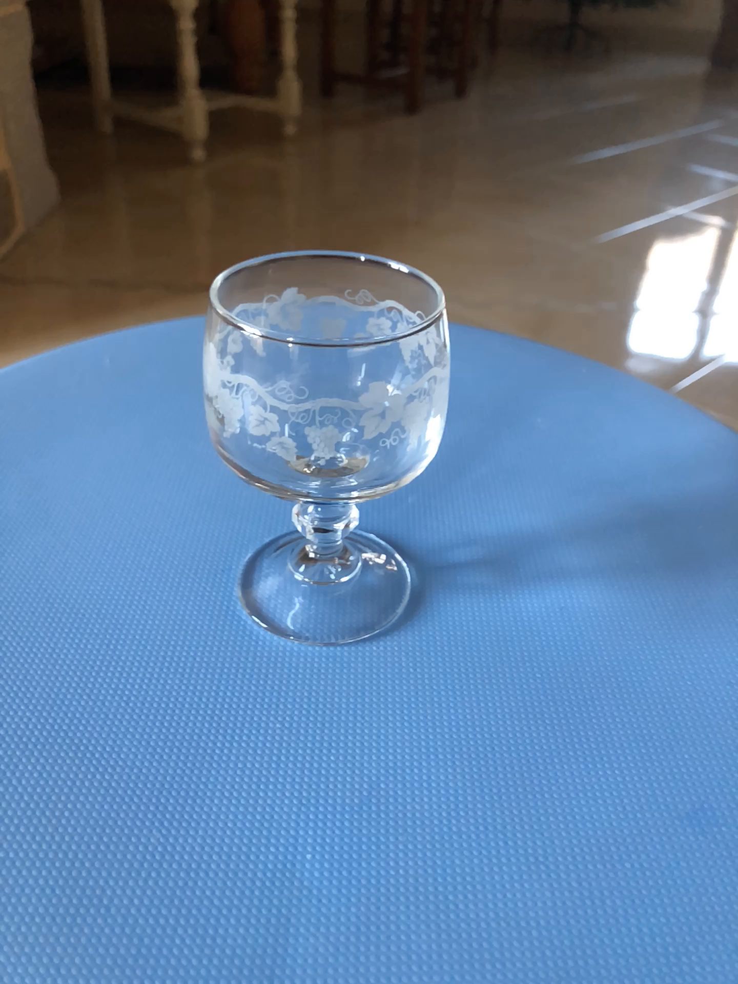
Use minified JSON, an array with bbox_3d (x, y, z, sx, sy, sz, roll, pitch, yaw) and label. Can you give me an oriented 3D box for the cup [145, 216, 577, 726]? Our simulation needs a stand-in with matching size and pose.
[{"bbox_3d":[-0.002,-0.008,0.185,0.060,0.080,0.060,2,35,-2],"label":"cup"}]
